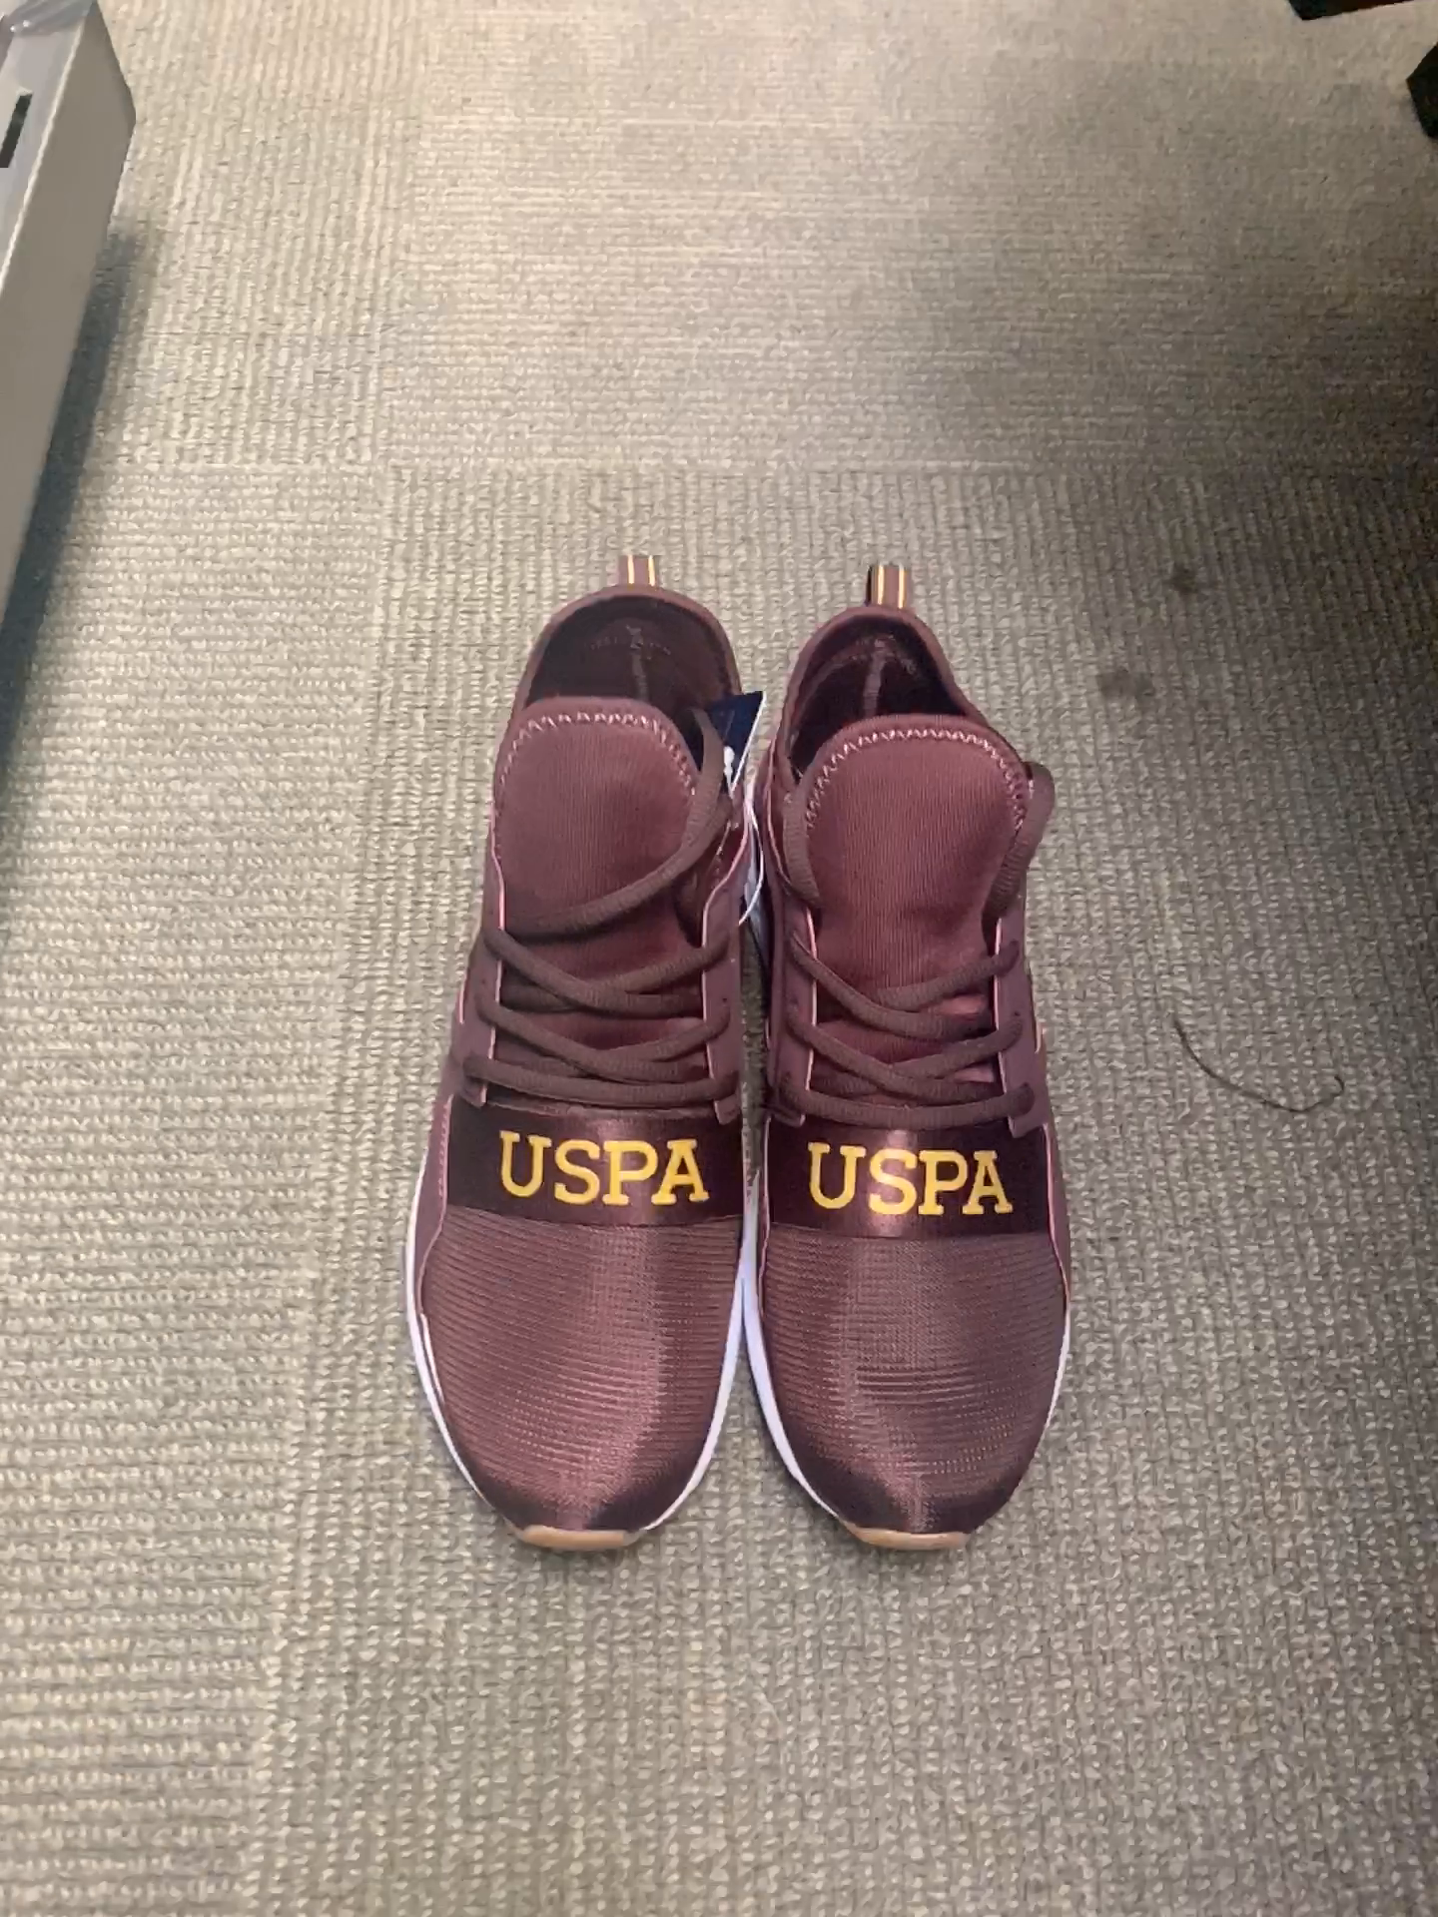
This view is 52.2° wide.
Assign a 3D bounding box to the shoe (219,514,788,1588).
[{"bbox_3d":[-0.042,0.030,0.392,0.103,0.156,0.243,1,63,-2],"label":"shoe"}]

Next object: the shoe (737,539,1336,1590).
[{"bbox_3d":[0.061,0.033,0.395,0.103,0.149,0.241,1,63,-2],"label":"shoe"}]
